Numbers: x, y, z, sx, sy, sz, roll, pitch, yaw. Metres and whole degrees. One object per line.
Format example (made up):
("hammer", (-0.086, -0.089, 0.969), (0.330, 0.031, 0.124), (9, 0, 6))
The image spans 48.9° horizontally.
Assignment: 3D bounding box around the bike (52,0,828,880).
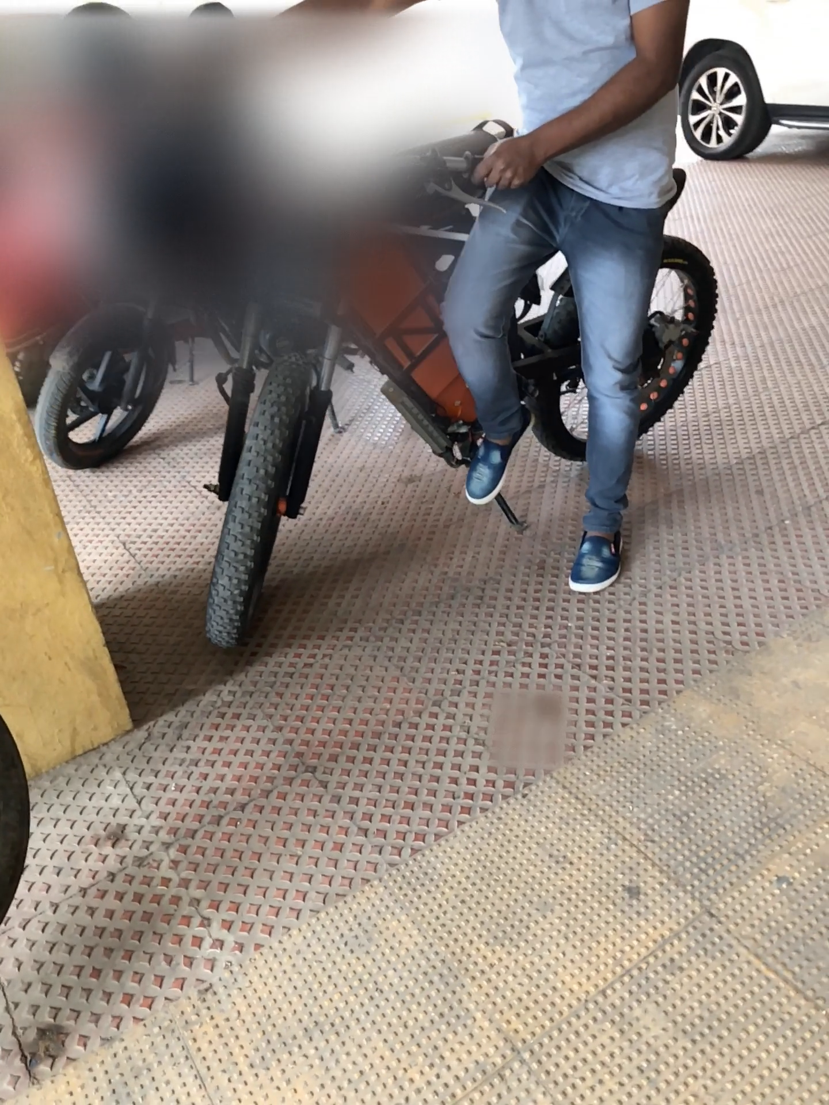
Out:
("bike", (0.266, -0.448, 2.120), (1.754, 1.185, 0.755), (-31, 38, -28))
